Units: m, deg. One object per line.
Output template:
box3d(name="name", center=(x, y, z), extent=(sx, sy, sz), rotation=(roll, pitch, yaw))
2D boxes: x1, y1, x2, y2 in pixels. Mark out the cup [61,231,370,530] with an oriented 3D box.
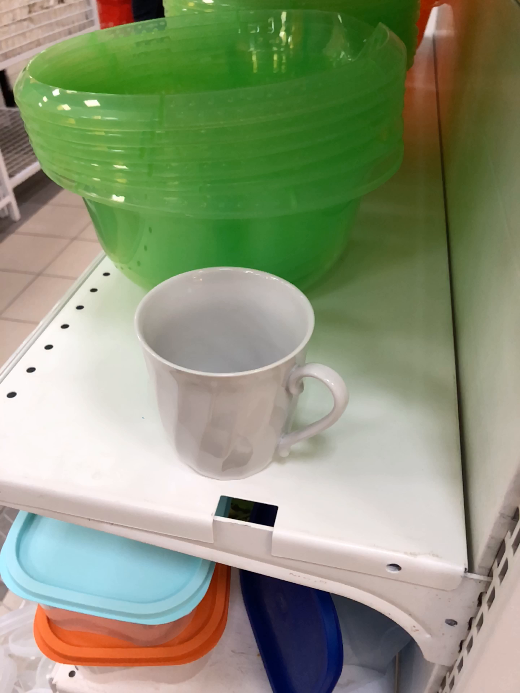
box3d(name="cup", center=(-0.021, 0.009, 0.301), extent=(0.119, 0.080, 0.090), rotation=(26, 46, 30))
